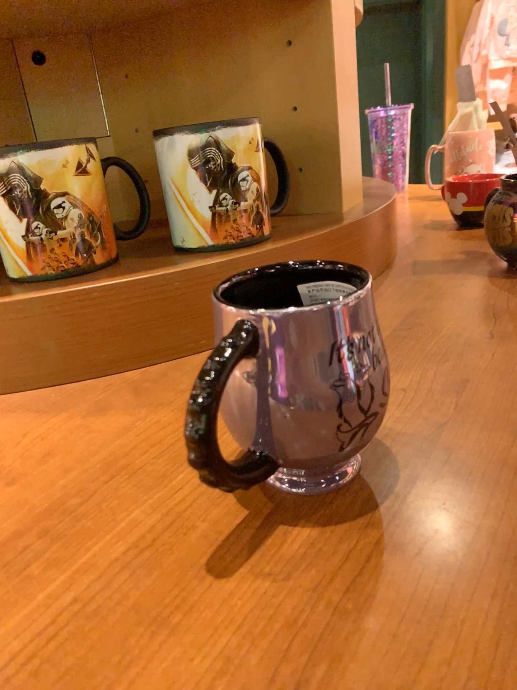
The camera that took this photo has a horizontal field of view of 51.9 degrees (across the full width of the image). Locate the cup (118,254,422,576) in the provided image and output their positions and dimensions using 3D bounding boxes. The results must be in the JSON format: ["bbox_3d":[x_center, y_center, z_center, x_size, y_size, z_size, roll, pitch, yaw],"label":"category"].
[{"bbox_3d":[0.017,0.017,0.256,0.086,0.089,0.126,8,26,31],"label":"cup"}]
